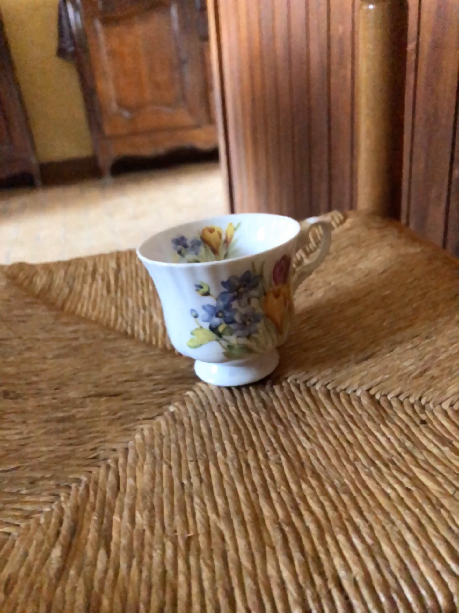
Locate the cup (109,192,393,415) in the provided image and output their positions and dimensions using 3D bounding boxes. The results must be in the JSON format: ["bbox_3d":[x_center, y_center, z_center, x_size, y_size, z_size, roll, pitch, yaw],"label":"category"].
[{"bbox_3d":[0.010,-0.011,0.296,0.130,0.070,0.090,-15,27,-18],"label":"cup"}]
